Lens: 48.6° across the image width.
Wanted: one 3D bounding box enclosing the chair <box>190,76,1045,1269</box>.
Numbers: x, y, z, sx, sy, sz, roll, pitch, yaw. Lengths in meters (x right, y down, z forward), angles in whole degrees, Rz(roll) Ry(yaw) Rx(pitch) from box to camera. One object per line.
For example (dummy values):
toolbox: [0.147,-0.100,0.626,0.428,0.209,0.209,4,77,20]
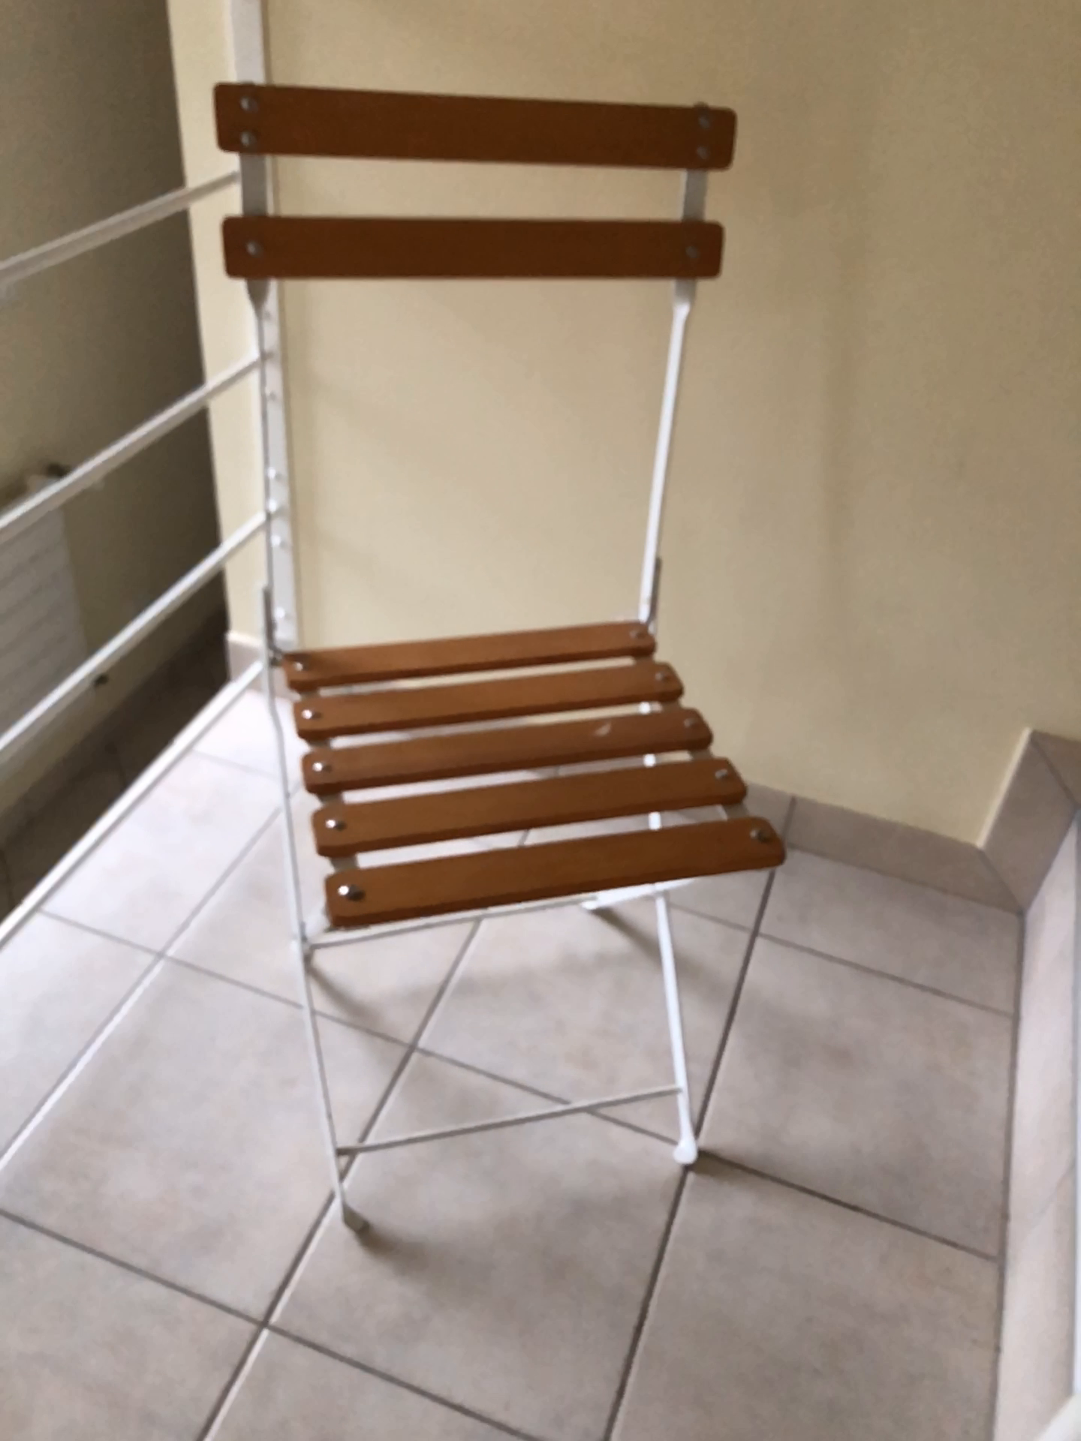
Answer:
chair: [-0.020,-0.016,1.025,0.441,0.875,0.432,-6,37,-14]
